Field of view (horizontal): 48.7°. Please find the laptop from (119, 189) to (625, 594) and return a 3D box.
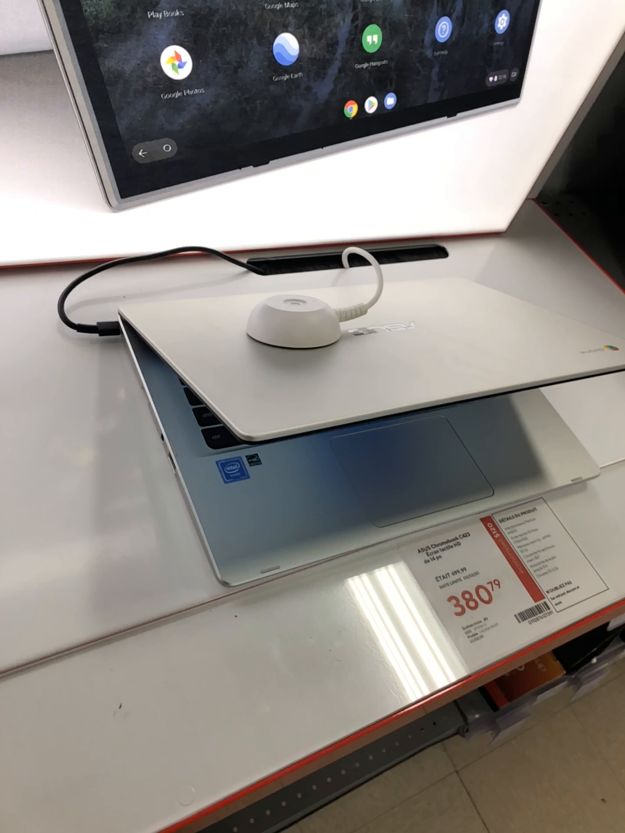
[{"bbox_3d":[0.060,-0.046,0.472,0.318,0.101,0.225,-10,55,-28],"label":"laptop"}]
